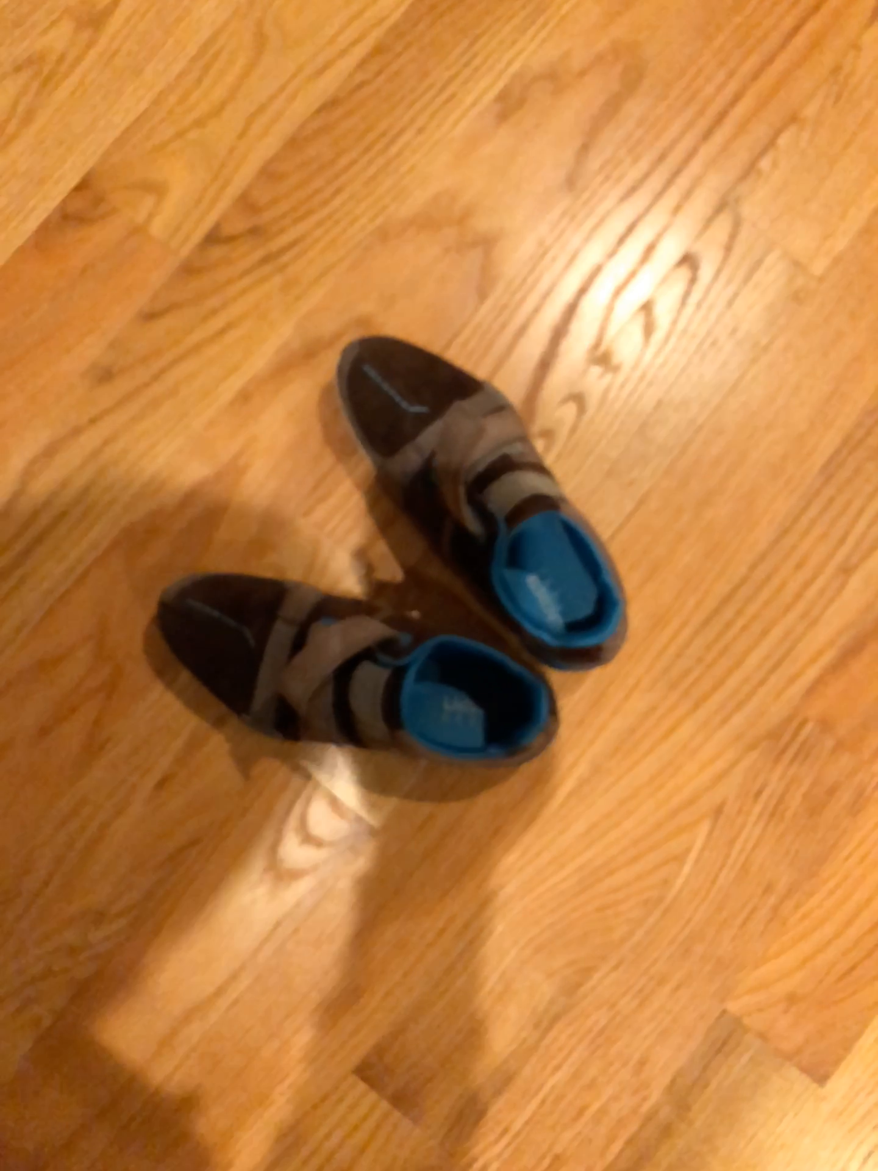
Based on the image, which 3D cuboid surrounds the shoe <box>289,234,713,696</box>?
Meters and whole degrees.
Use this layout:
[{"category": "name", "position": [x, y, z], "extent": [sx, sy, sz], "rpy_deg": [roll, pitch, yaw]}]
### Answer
[{"category": "shoe", "position": [0.033, -0.066, 0.599], "extent": [0.102, 0.092, 0.255], "rpy_deg": [-39, 90, -5]}]

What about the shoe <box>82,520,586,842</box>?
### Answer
[{"category": "shoe", "position": [-0.058, 0.055, 0.583], "extent": [0.255, 0.092, 0.102], "rpy_deg": [18, 85, -3]}]
